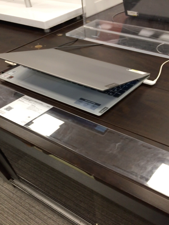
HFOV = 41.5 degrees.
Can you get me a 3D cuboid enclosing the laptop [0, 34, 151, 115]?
[{"bbox_3d":[-0.035,-0.135,0.672,0.350,0.073,0.234,25,50,30],"label":"laptop"}]
